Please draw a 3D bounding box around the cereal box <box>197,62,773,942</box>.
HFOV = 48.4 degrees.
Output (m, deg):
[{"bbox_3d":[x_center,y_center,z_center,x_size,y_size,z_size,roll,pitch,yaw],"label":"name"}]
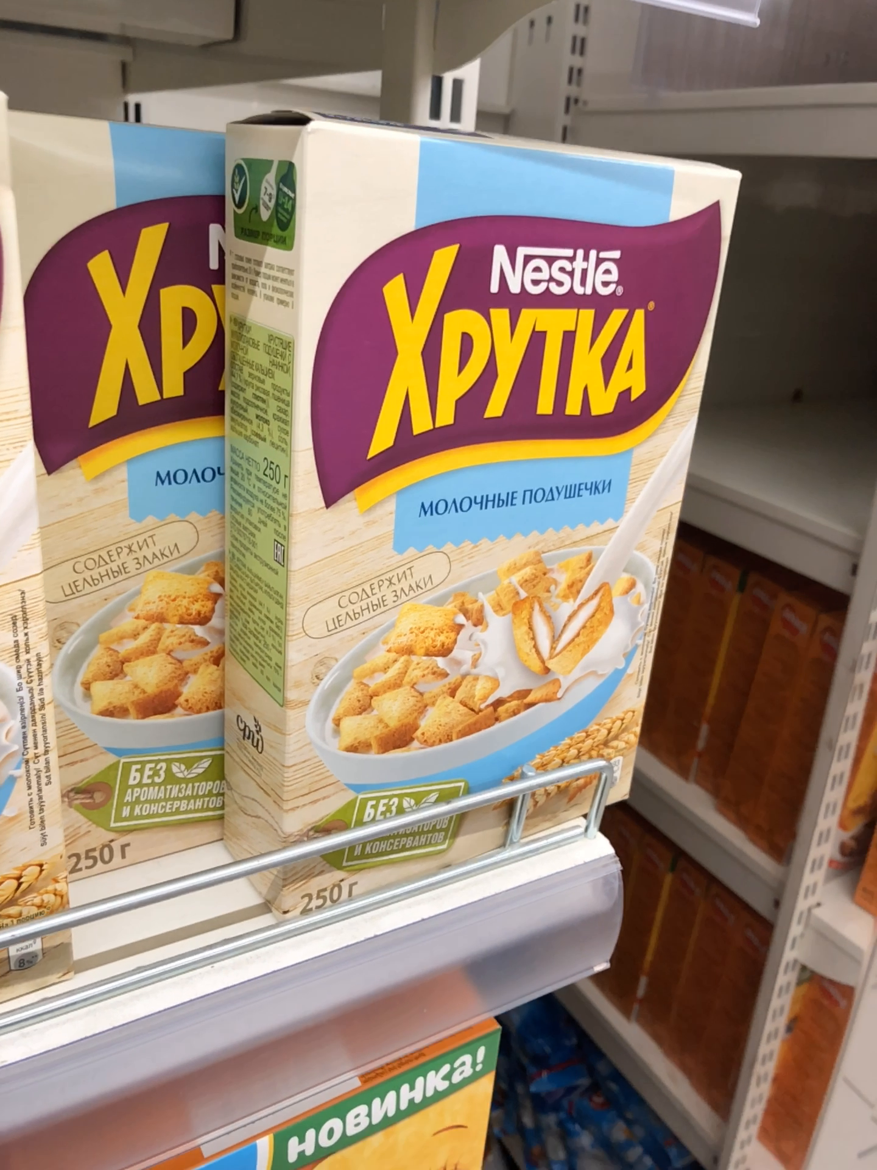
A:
[{"bbox_3d":[0.010,-0.022,0.293,0.150,0.219,0.050,-10,26,-34],"label":"cereal box"}]
